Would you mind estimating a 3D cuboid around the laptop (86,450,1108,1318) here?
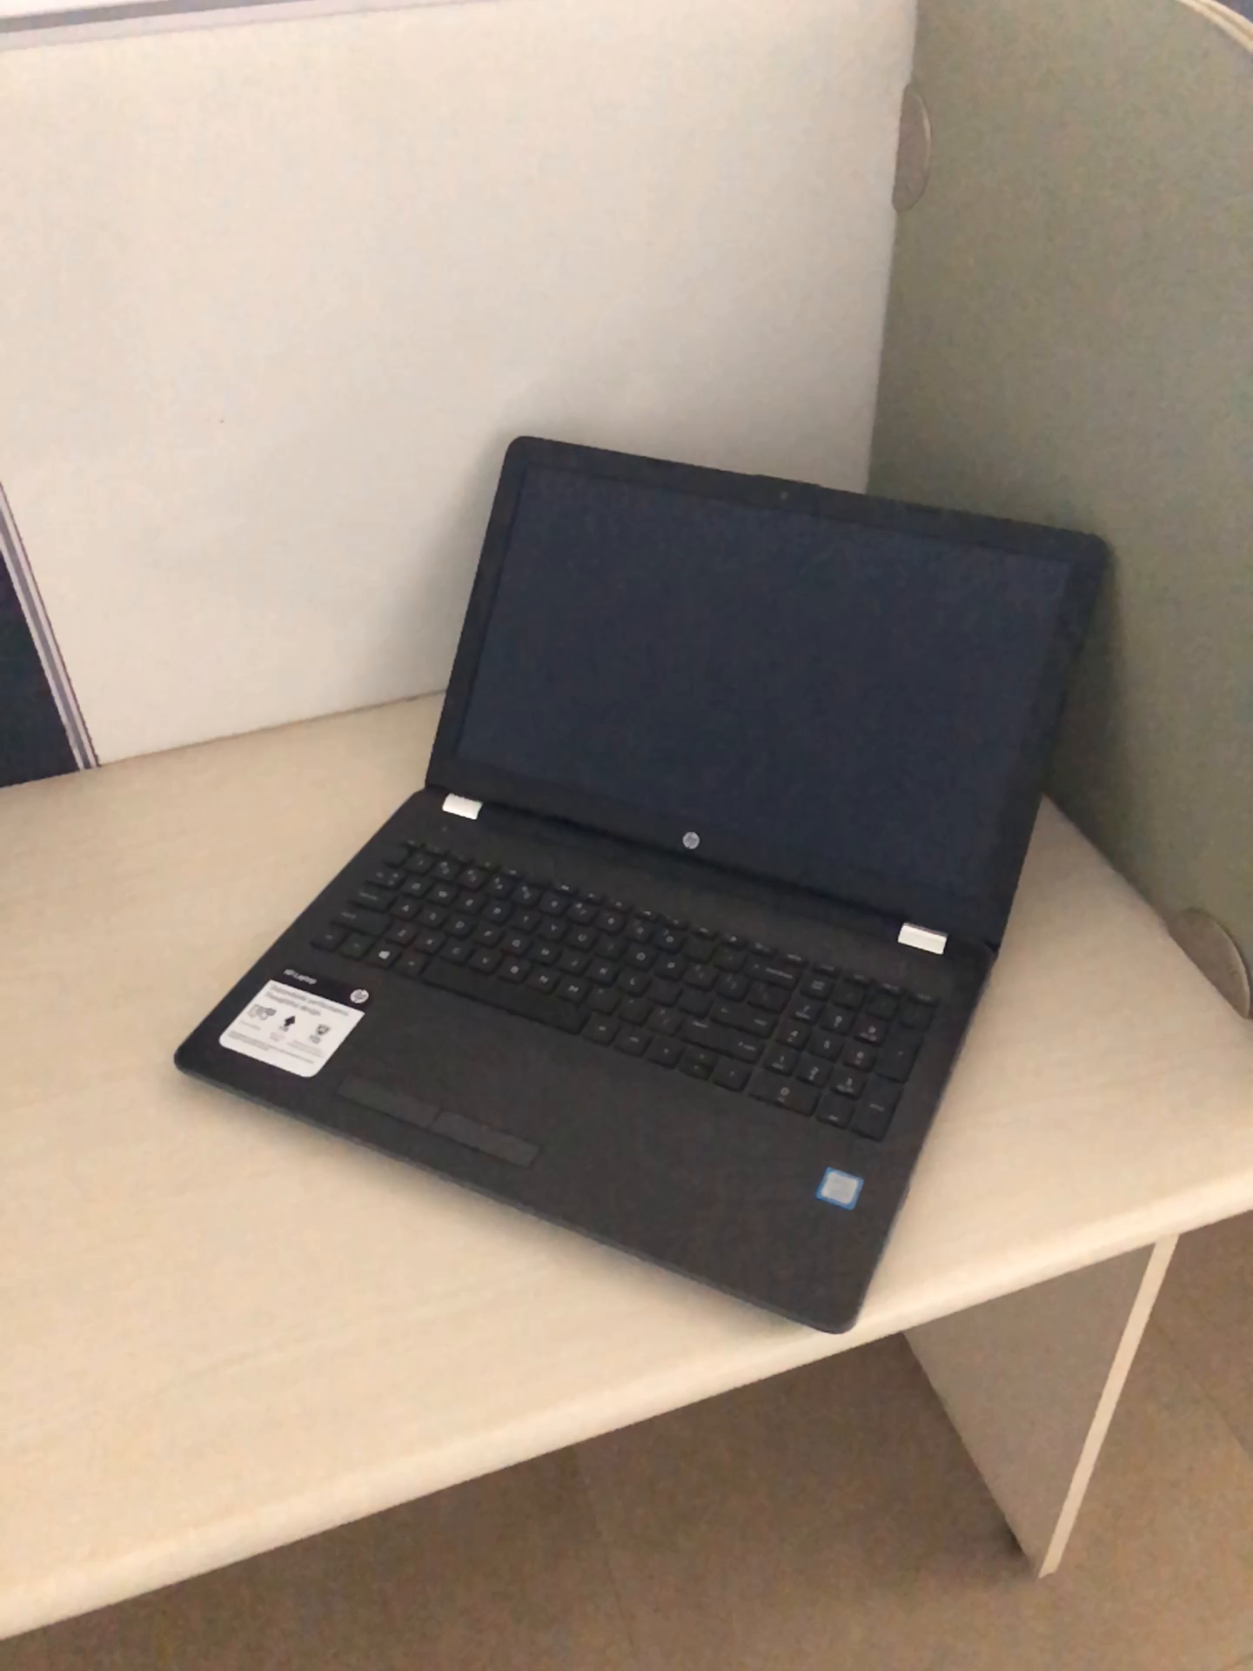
[{"bbox_3d":[0.013,-0.021,0.733,0.366,0.167,0.395,15,43,22],"label":"laptop"}]
